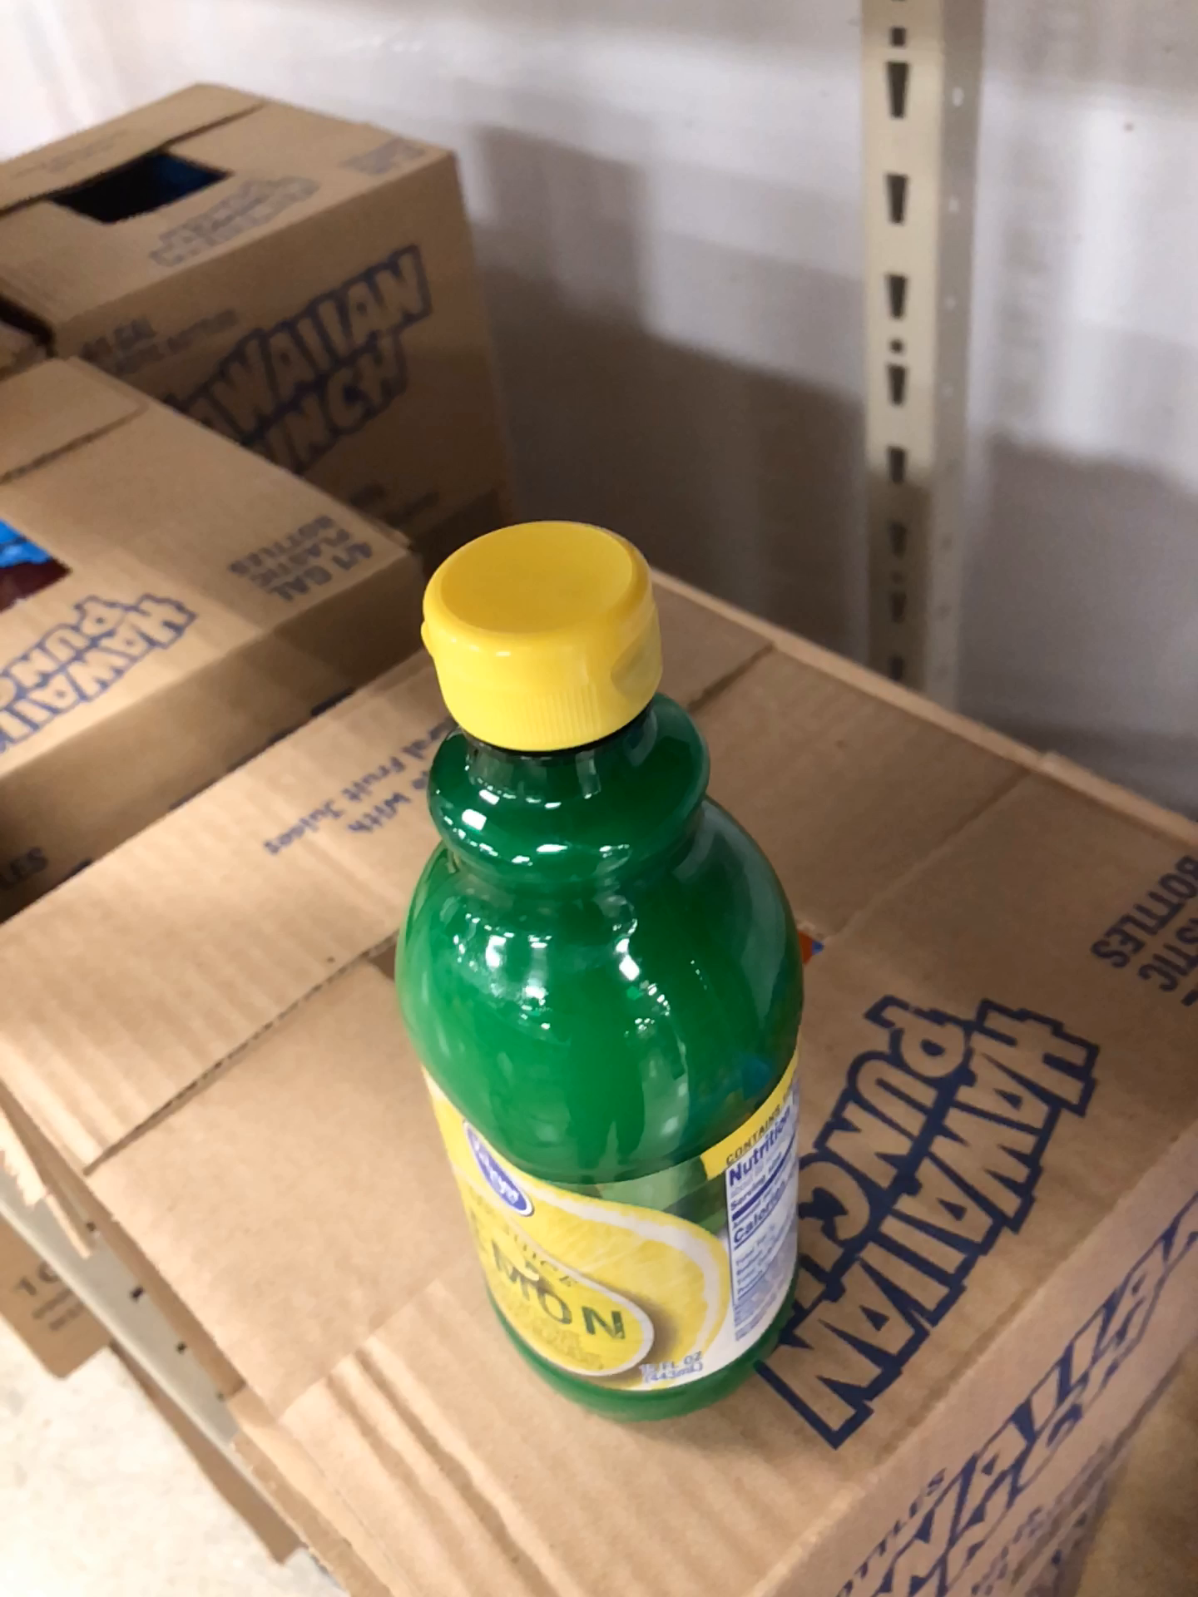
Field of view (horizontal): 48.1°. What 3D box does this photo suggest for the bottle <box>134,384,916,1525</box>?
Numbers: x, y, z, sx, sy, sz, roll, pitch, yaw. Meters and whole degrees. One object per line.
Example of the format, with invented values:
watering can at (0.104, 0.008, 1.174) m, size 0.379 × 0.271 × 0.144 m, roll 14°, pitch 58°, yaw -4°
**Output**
bottle at (0.002, 0.037, 0.229) m, size 0.070 × 0.184 × 0.070 m, roll -5°, pitch 42°, yaw 4°
